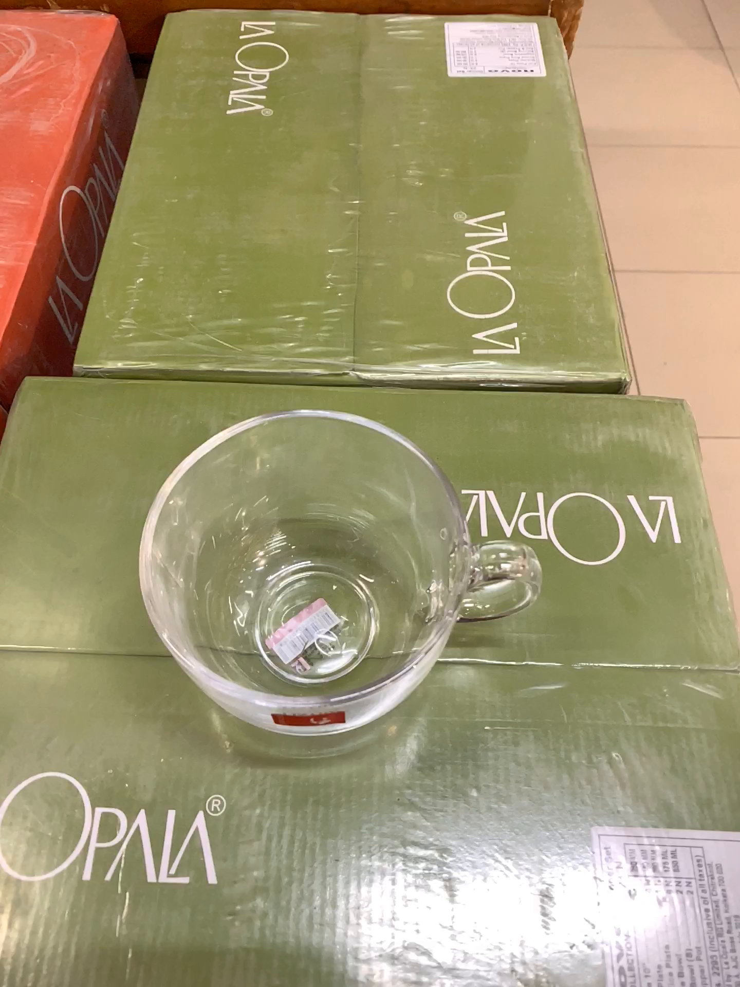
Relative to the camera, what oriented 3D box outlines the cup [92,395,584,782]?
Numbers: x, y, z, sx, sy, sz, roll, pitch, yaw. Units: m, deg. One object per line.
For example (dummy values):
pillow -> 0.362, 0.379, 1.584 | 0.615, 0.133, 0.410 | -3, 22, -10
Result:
cup -> -0.011, 0.037, 0.283 | 0.140, 0.090, 0.110 | -2, 59, -2
